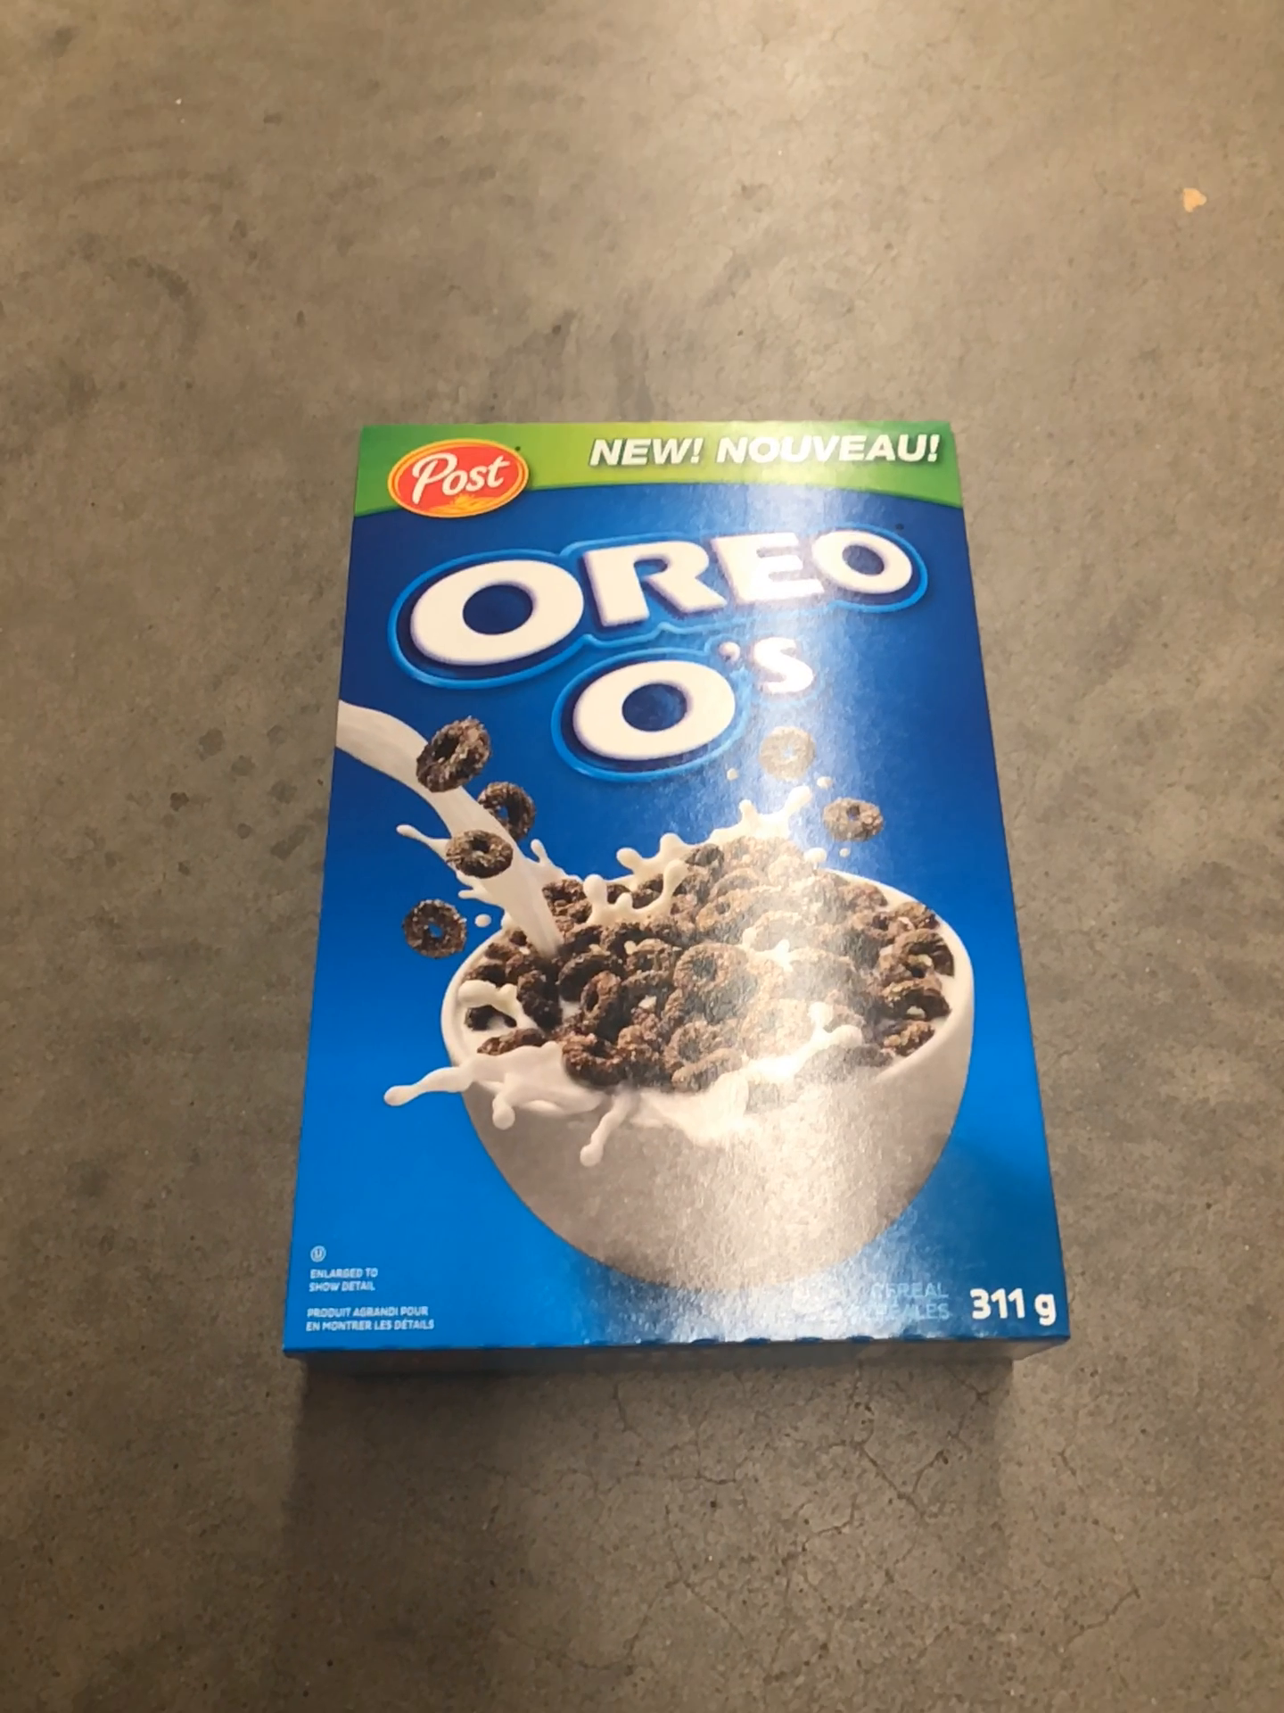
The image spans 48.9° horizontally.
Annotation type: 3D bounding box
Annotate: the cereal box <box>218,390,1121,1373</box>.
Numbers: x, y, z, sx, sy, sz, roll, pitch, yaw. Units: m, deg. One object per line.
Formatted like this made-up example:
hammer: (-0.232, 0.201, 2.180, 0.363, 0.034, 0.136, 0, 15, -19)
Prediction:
cereal box: (0.003, -0.002, 0.418, 0.210, 0.070, 0.281, -2, 66, 0)
